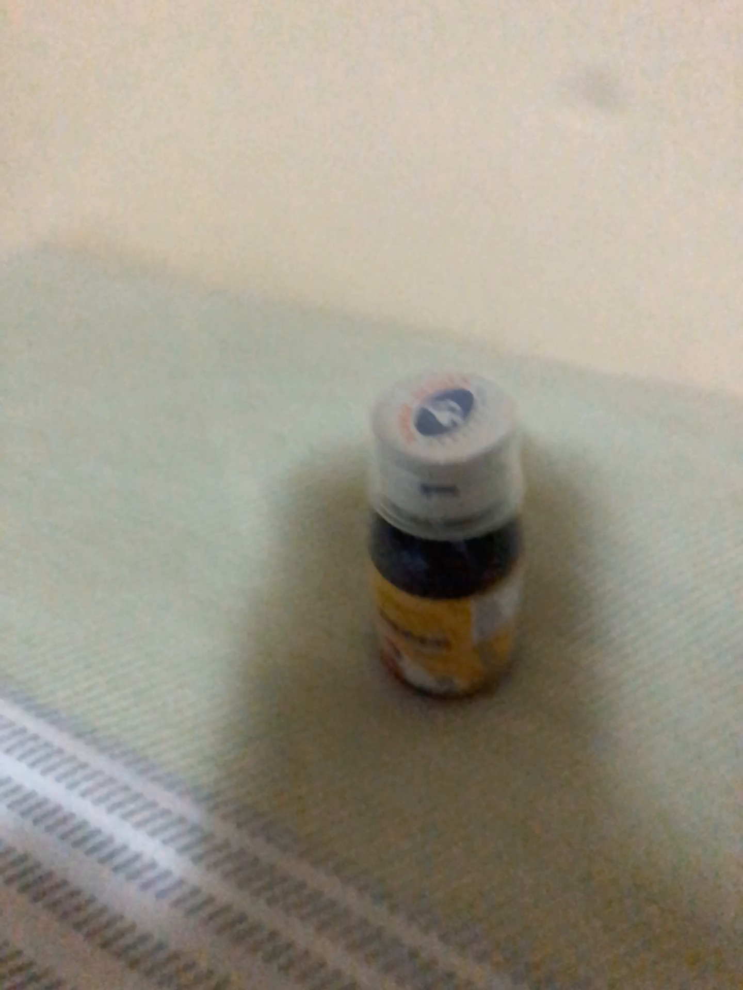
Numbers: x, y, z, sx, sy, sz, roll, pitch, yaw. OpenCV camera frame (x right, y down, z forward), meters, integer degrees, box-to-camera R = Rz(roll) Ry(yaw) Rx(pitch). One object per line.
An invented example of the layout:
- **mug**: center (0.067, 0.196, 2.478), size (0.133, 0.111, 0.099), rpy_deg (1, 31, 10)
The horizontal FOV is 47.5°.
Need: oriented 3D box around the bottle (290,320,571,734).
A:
- **bottle**: center (0.015, 0.009, 0.184), size (0.037, 0.076, 0.038), rpy_deg (-5, 45, 4)
